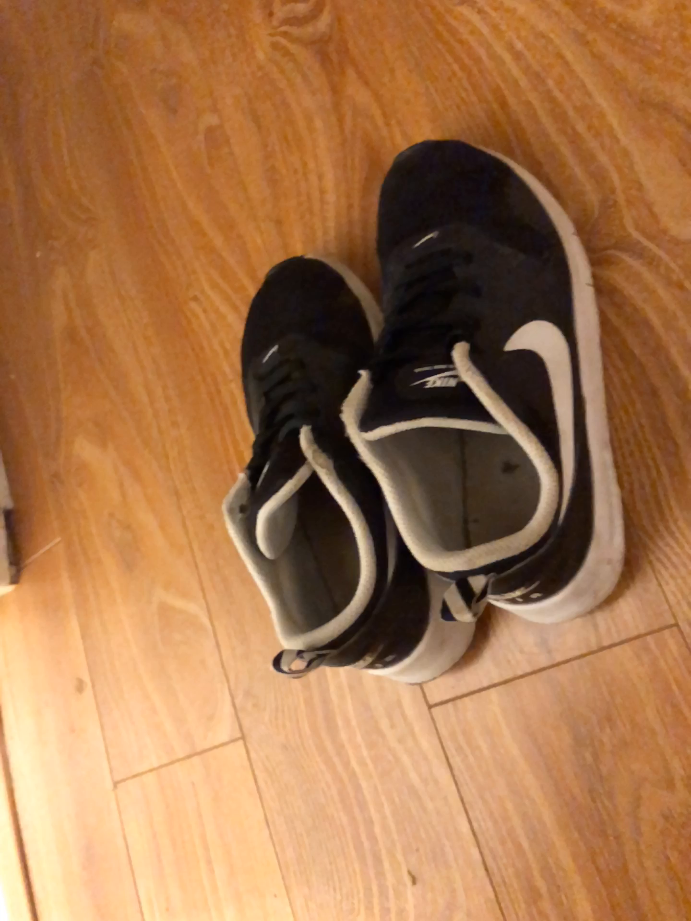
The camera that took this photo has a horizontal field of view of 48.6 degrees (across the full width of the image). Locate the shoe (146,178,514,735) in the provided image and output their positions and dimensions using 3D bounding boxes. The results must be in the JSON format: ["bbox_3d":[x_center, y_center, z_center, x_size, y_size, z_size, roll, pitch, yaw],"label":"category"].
[{"bbox_3d":[-0.012,-0.002,0.372,0.090,0.080,0.230,-26,73,31],"label":"shoe"}]

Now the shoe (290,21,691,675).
[{"bbox_3d":[0.059,-0.040,0.320,0.090,0.080,0.230,-20,76,32],"label":"shoe"}]
